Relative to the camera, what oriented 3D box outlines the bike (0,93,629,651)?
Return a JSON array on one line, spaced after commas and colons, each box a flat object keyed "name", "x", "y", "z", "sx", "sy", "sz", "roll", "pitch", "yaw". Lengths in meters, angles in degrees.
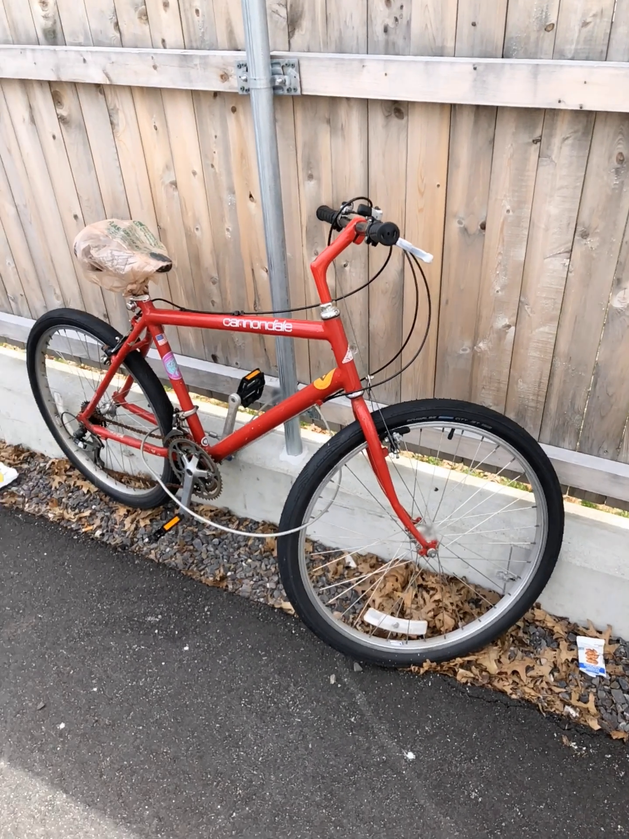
[{"name": "bike", "x": -0.177, "y": -0.180, "z": 1.720, "sx": 1.474, "sy": 1.001, "sz": 0.596, "roll": 12, "pitch": 36, "yaw": 27}]
